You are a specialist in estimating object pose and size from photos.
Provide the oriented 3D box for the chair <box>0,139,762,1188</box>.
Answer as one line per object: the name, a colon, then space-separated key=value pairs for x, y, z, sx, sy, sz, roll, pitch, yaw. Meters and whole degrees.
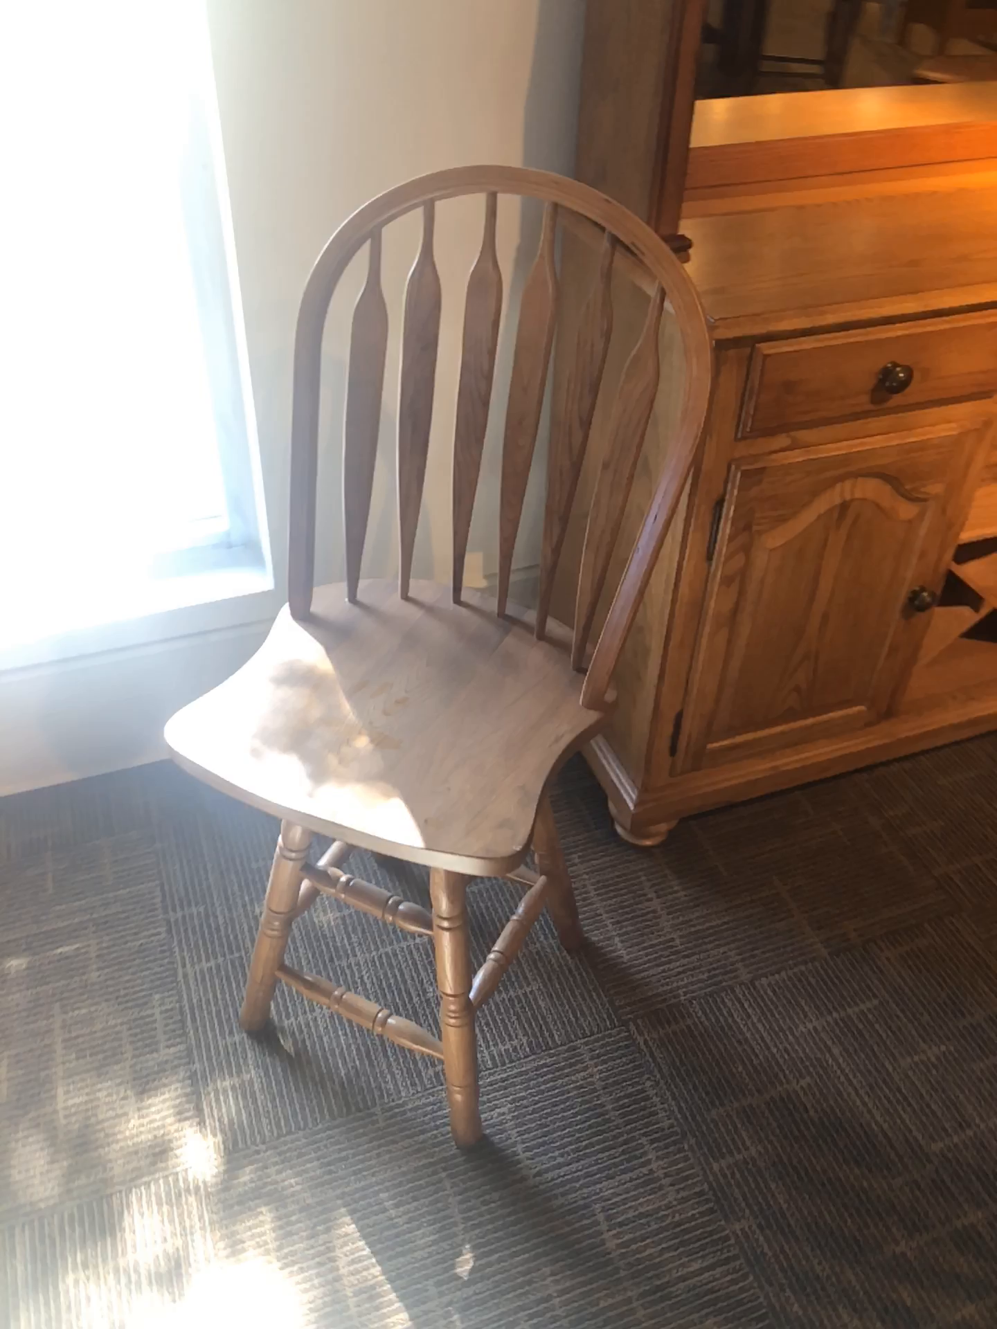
chair: x=-0.085 y=0.024 z=1.291 sx=0.480 sy=1.025 sz=0.542 roll=18 pitch=42 yaw=19
